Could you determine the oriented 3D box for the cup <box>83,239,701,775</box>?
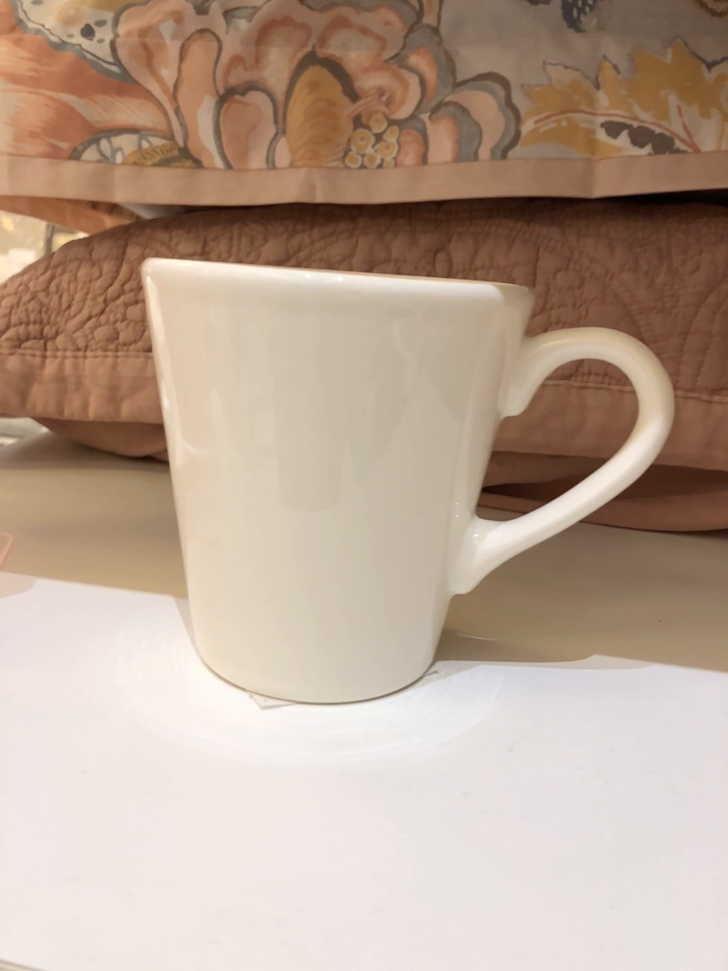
[{"bbox_3d":[0.002,-0.002,0.195,0.110,0.100,0.080,4,14,-2],"label":"cup"}]
